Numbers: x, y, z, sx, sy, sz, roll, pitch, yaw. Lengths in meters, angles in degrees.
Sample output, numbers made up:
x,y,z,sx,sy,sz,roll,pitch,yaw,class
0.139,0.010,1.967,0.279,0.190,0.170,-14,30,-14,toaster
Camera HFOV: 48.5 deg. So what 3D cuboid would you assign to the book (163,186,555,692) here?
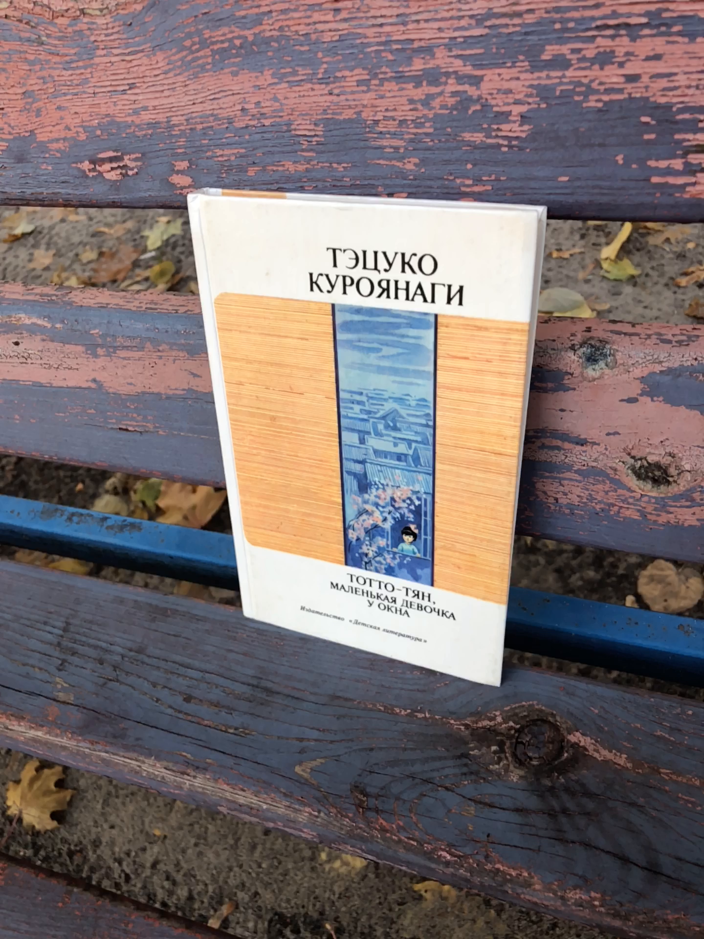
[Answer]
x,y,z,sx,sy,sz,roll,pitch,yaw,class
0.000,-0.005,0.312,0.134,0.198,0.016,10,32,18,book
